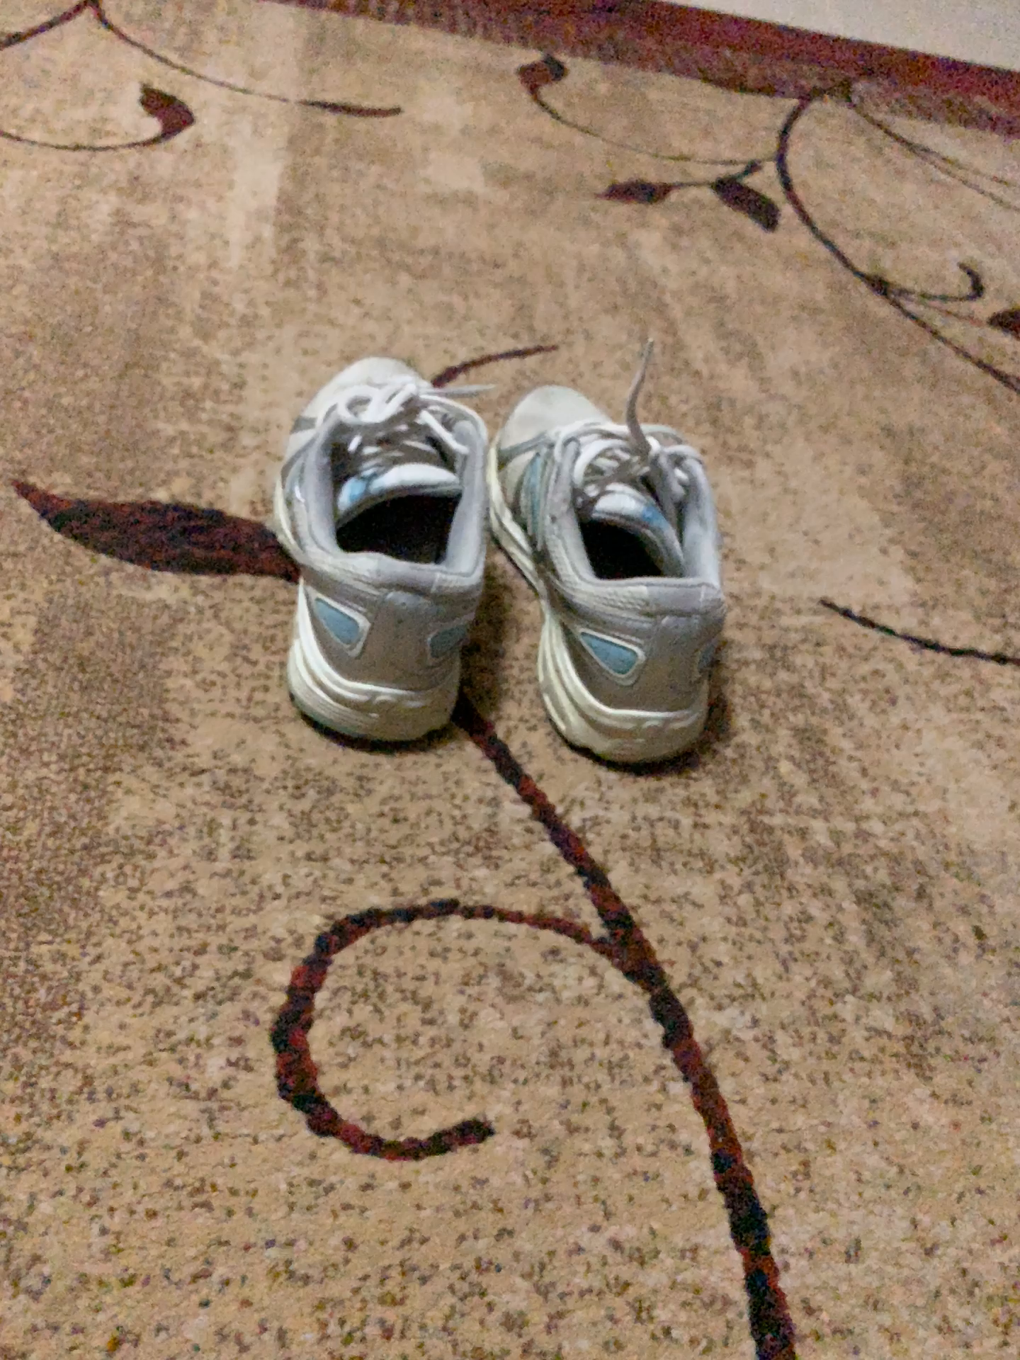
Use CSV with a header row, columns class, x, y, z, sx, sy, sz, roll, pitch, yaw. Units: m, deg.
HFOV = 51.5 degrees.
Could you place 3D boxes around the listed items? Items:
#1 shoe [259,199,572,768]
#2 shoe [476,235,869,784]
class,x,y,z,sx,sy,sz,roll,pitch,yaw
shoe,-0.057,-0.108,0.521,0.111,0.124,0.285,3,46,-12
shoe,0.059,-0.098,0.541,0.104,0.124,0.285,2,46,-13
